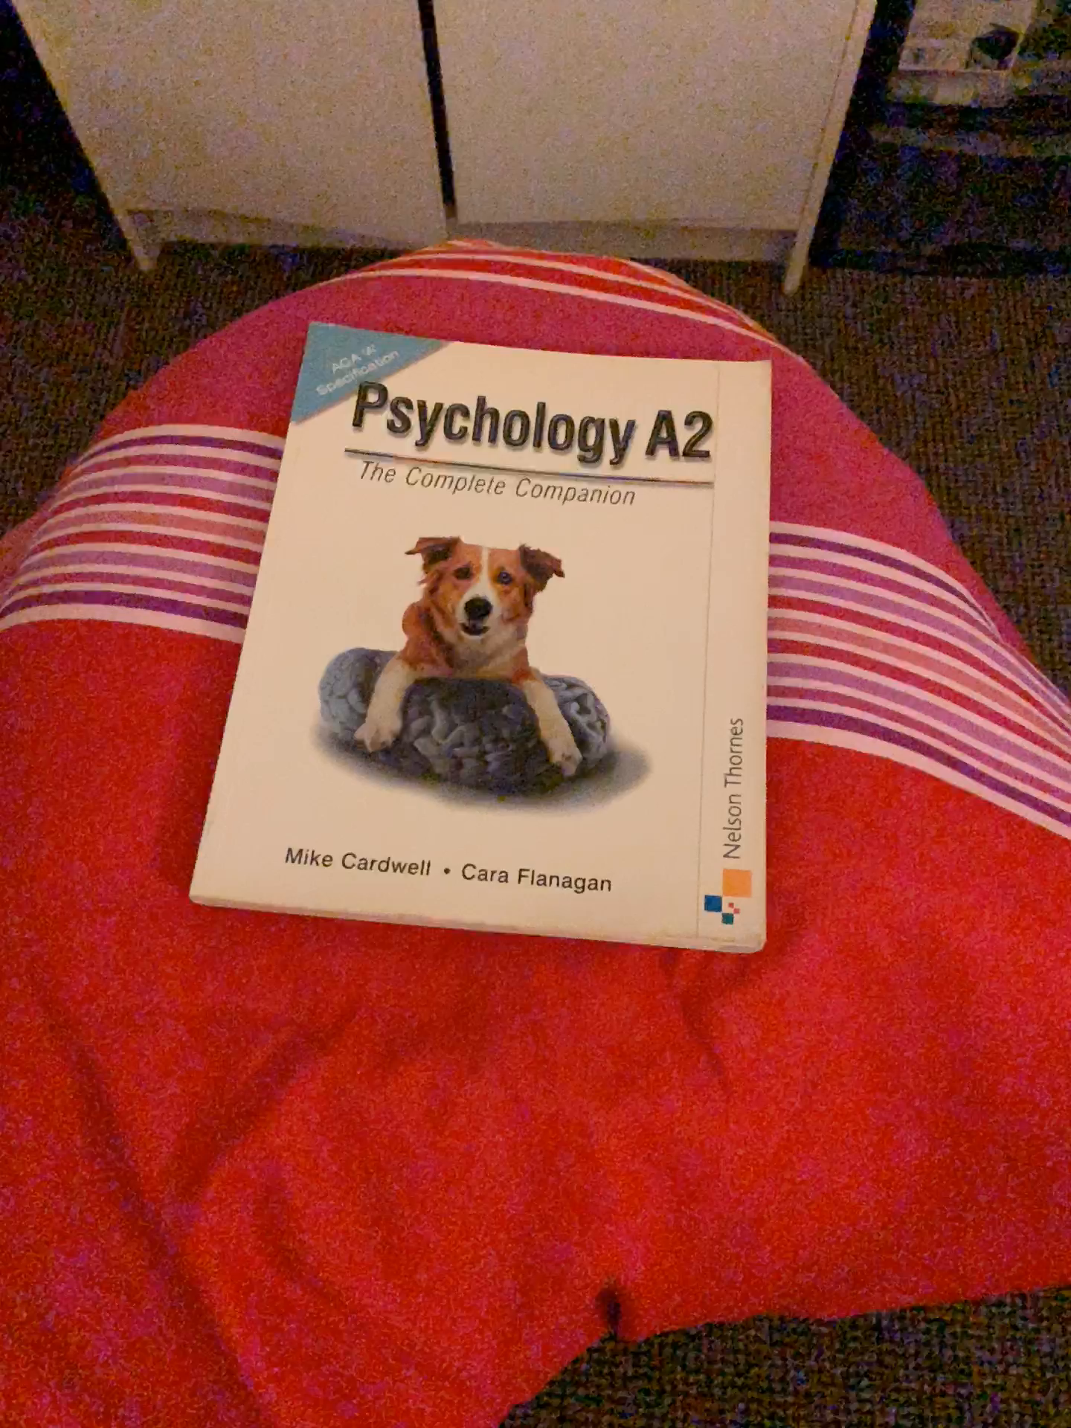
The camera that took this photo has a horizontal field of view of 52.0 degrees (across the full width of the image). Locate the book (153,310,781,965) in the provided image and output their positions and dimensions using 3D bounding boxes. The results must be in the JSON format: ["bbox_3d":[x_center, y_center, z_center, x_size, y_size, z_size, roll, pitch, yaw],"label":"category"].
[{"bbox_3d":[-0.015,-0.048,0.493,0.240,0.040,0.291,4,67,3],"label":"book"}]
